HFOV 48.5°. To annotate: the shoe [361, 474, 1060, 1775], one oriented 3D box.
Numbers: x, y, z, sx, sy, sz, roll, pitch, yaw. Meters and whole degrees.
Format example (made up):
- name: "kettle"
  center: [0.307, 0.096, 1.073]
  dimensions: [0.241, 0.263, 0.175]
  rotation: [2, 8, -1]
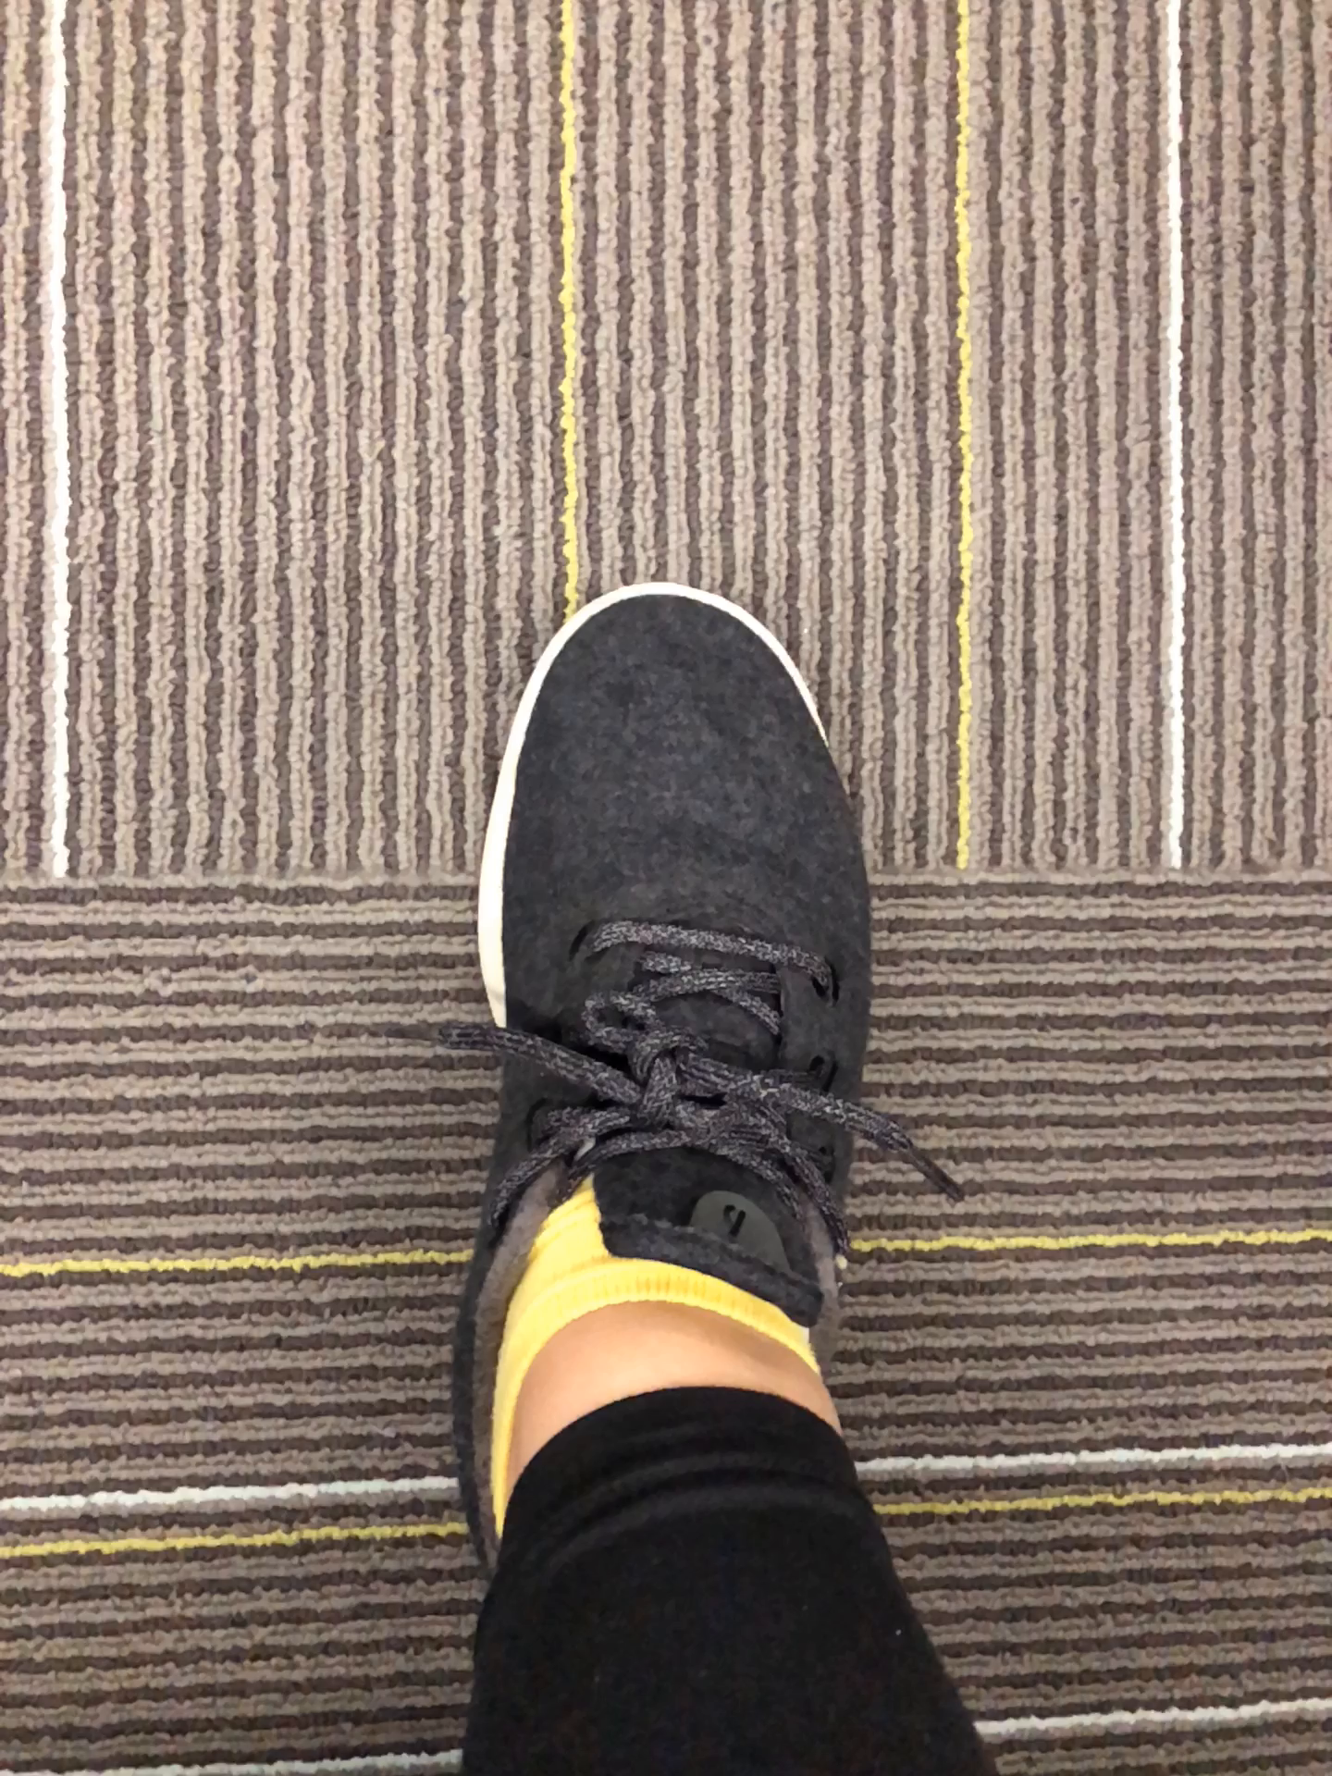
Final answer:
- name: "shoe"
  center: [0.007, 0.053, 0.337]
  dimensions: [0.120, 0.080, 0.260]
  rotation: [5, 90, -6]
